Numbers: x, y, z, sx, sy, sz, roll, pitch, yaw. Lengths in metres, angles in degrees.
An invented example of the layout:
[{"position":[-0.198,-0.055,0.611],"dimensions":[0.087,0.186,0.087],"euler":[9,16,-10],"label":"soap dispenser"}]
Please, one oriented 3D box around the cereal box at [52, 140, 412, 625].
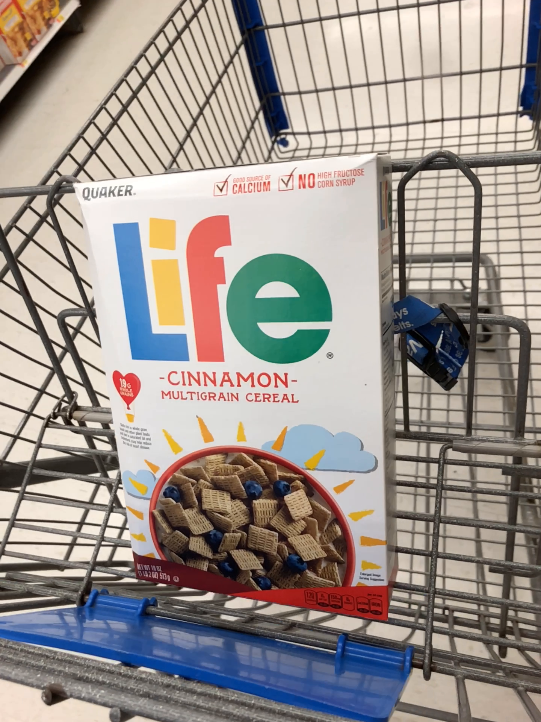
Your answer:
[{"position":[-0.016,0.015,0.397],"dimensions":[0.200,0.280,0.070],"euler":[1,16,21],"label":"cereal box"}]
